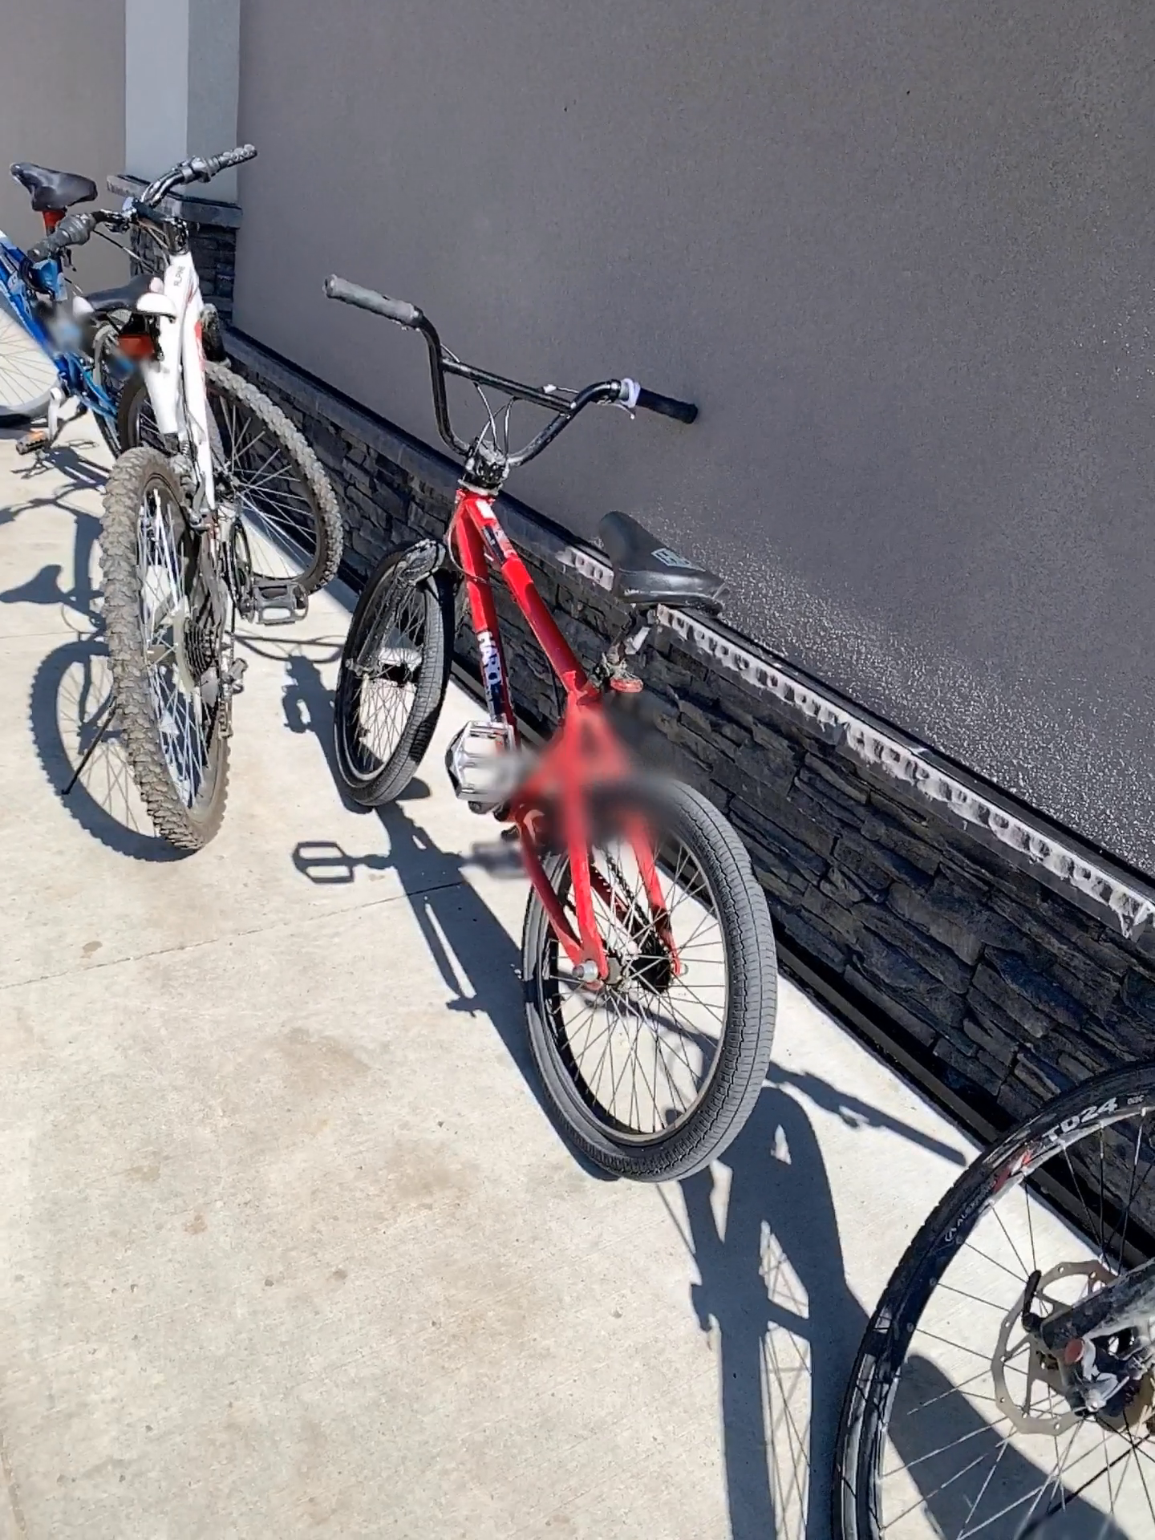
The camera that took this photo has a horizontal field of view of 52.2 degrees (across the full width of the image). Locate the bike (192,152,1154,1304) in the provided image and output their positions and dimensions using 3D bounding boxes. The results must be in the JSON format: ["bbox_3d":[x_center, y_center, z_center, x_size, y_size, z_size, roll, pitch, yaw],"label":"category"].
[{"bbox_3d":[-0.025,-0.219,1.735,0.773,0.908,1.318,-5,34,-29],"label":"bike"}]
